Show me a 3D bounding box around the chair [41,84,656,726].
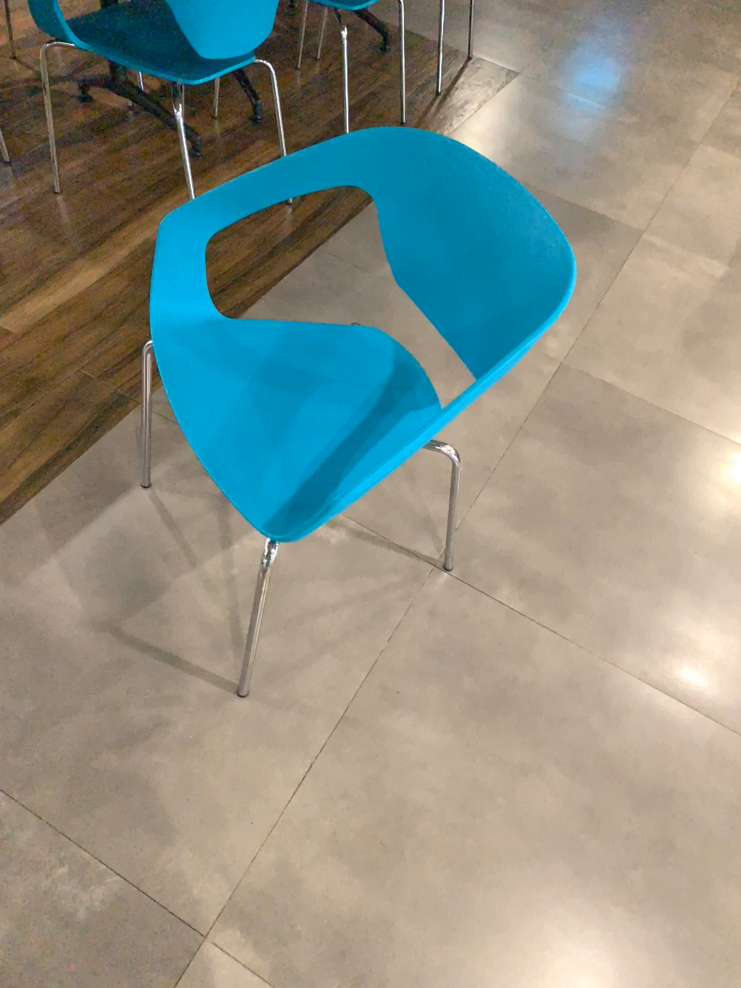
[{"bbox_3d":[-0.091,-0.140,1.262,0.591,0.725,0.613,-19,58,-22],"label":"chair"}]
